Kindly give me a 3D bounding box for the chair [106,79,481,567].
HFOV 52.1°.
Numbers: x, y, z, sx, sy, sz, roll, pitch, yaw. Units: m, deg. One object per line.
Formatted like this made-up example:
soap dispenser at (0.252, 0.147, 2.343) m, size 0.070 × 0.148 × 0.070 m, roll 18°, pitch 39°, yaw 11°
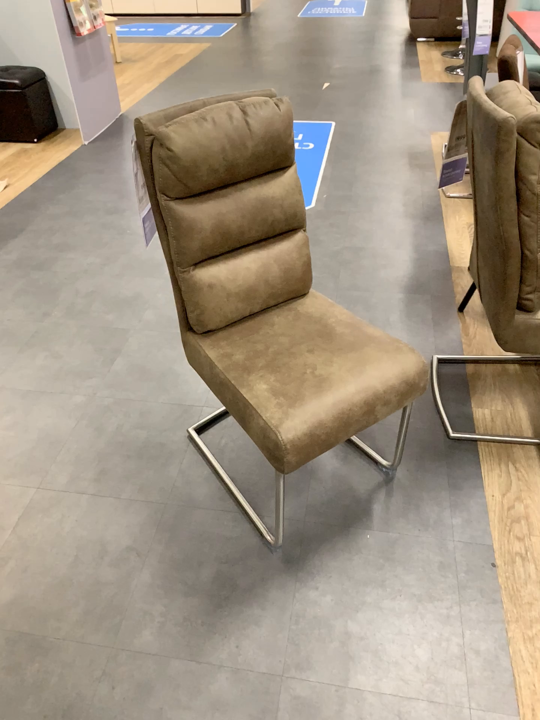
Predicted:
chair at (0.034, -0.092, 1.435) m, size 0.501 × 0.994 × 0.602 m, roll -25°, pitch 44°, yaw -25°
